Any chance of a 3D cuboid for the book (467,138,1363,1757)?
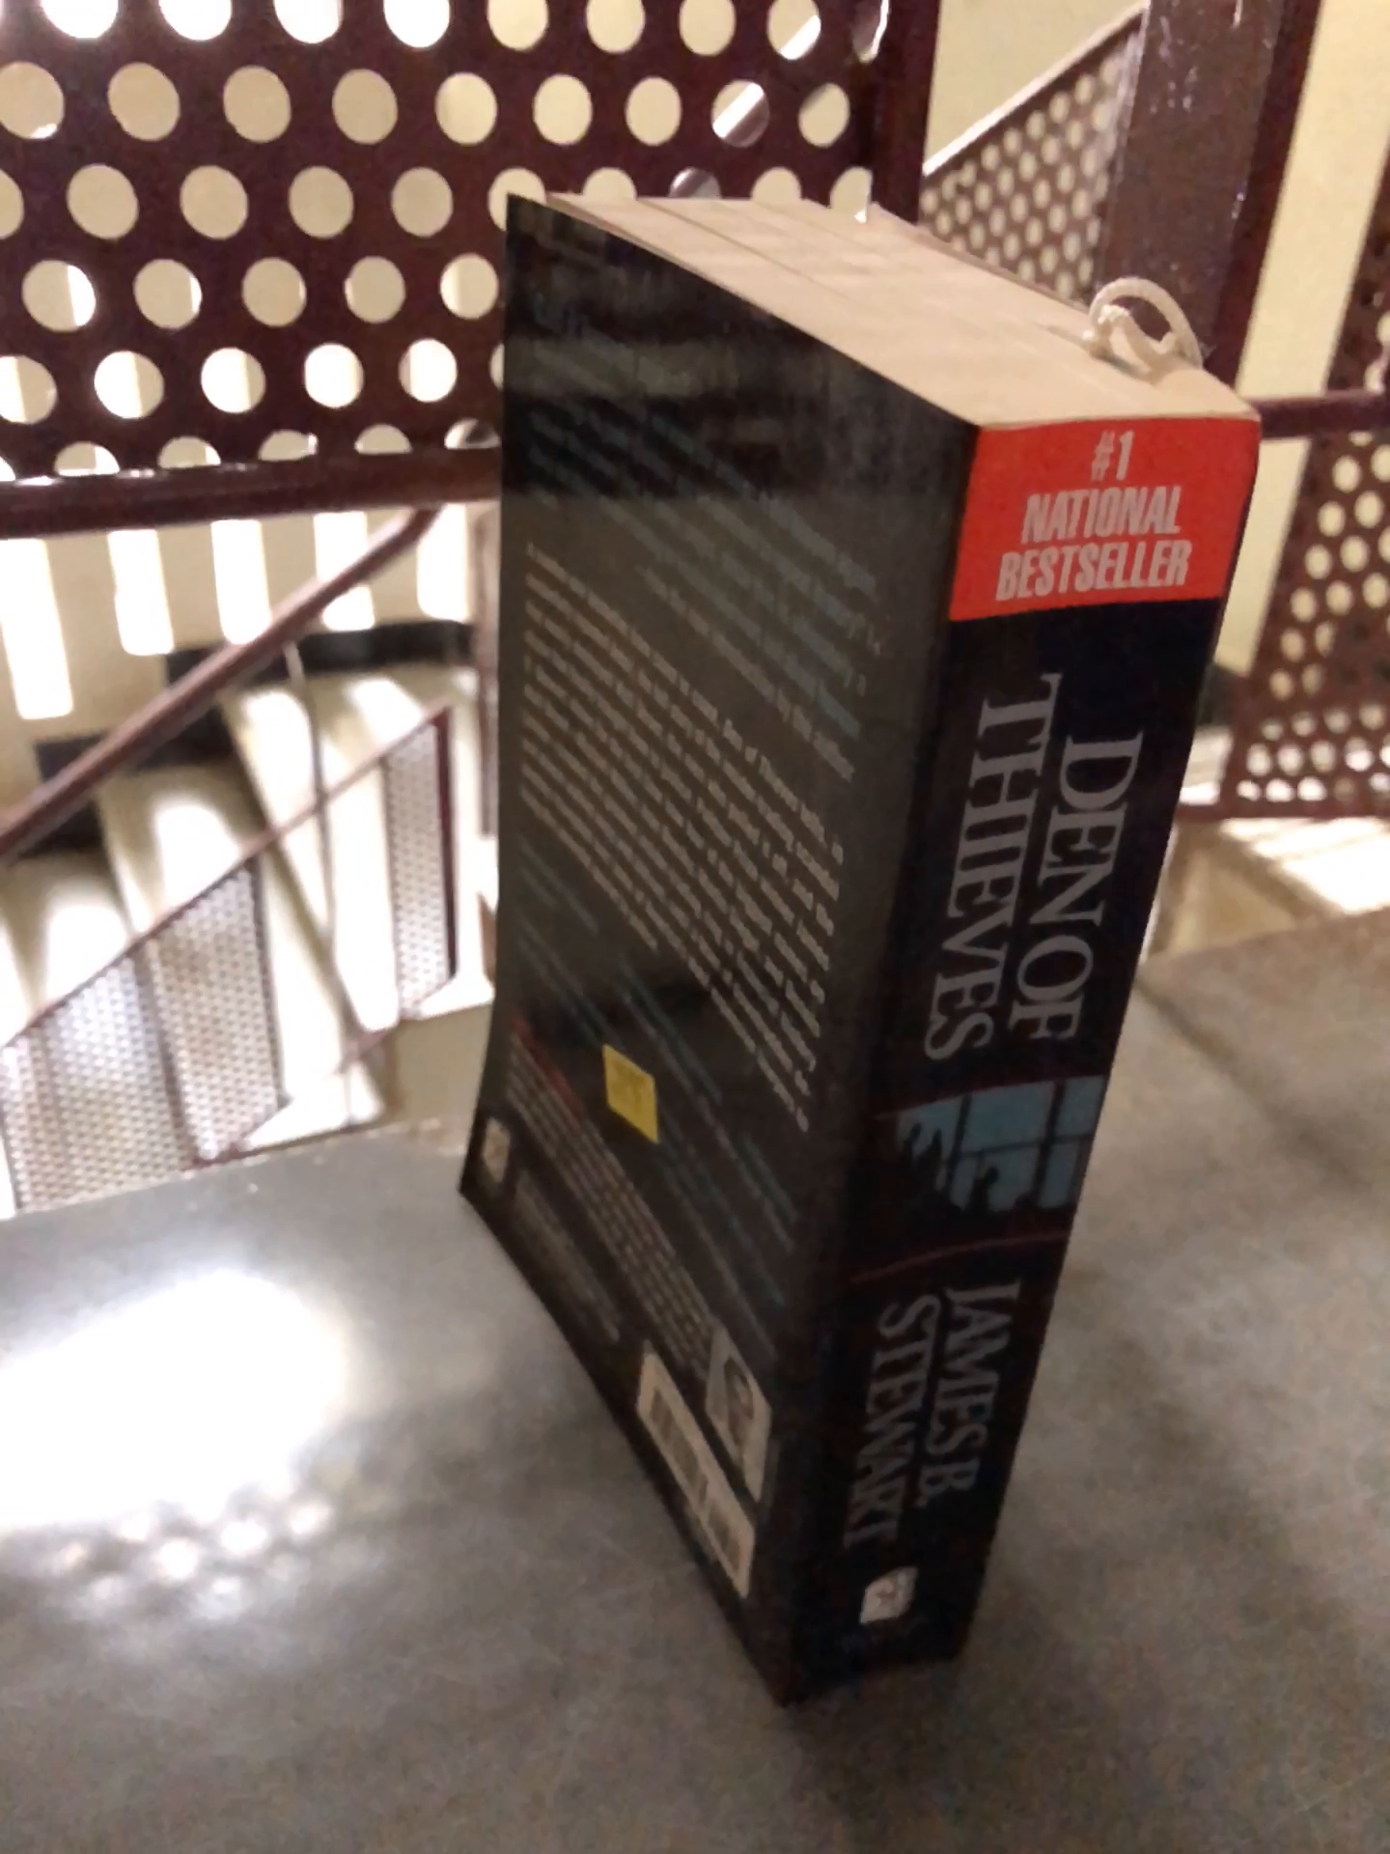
[{"bbox_3d":[0.007,-0.004,0.273,0.050,0.219,0.171,-9,34,-19],"label":"book"}]
